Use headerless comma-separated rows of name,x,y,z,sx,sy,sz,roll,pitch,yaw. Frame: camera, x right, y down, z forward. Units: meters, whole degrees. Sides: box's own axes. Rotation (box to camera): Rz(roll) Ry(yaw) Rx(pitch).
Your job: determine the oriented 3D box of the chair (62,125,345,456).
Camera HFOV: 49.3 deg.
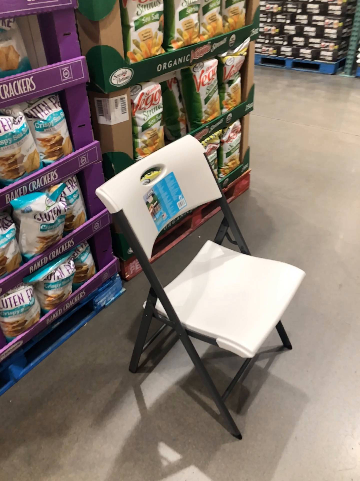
chair,0.094,0.133,1.333,0.595,0.790,0.547,21,42,29
